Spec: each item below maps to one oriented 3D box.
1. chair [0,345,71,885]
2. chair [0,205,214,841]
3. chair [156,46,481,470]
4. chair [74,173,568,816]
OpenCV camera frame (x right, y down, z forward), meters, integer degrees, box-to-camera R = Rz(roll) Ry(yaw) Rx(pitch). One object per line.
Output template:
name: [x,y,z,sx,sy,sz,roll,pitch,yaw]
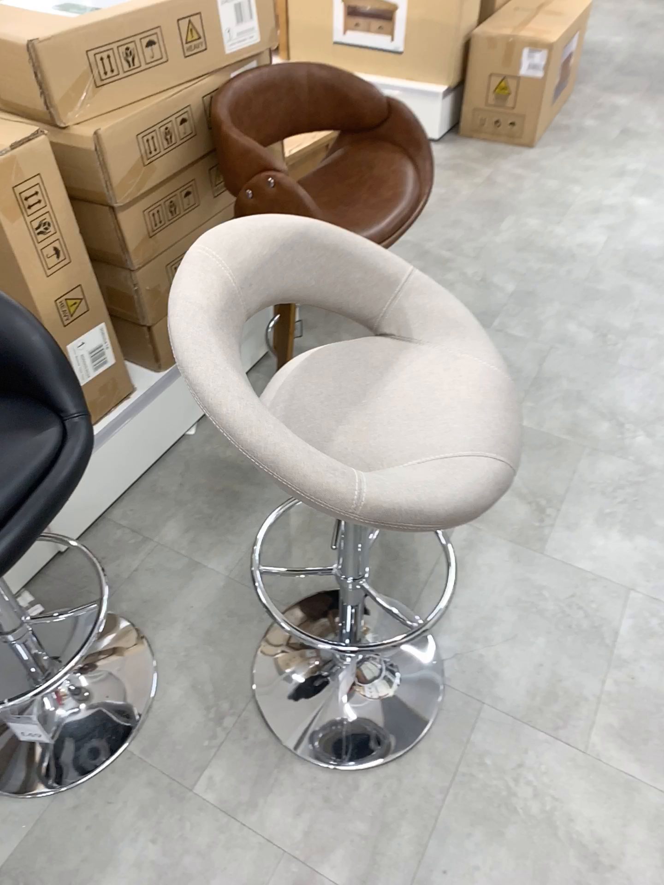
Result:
chair: [-0.811,0.513,0.796,0.486,1.008,0.536,34,54,30]
chair: [-0.596,0.184,1.165,0.484,0.939,0.497,14,46,15]
chair: [-0.031,-0.521,1.952,0.576,0.909,0.536,34,54,30]
chair: [0.028,0.146,1.176,0.464,0.979,0.487,14,46,15]
